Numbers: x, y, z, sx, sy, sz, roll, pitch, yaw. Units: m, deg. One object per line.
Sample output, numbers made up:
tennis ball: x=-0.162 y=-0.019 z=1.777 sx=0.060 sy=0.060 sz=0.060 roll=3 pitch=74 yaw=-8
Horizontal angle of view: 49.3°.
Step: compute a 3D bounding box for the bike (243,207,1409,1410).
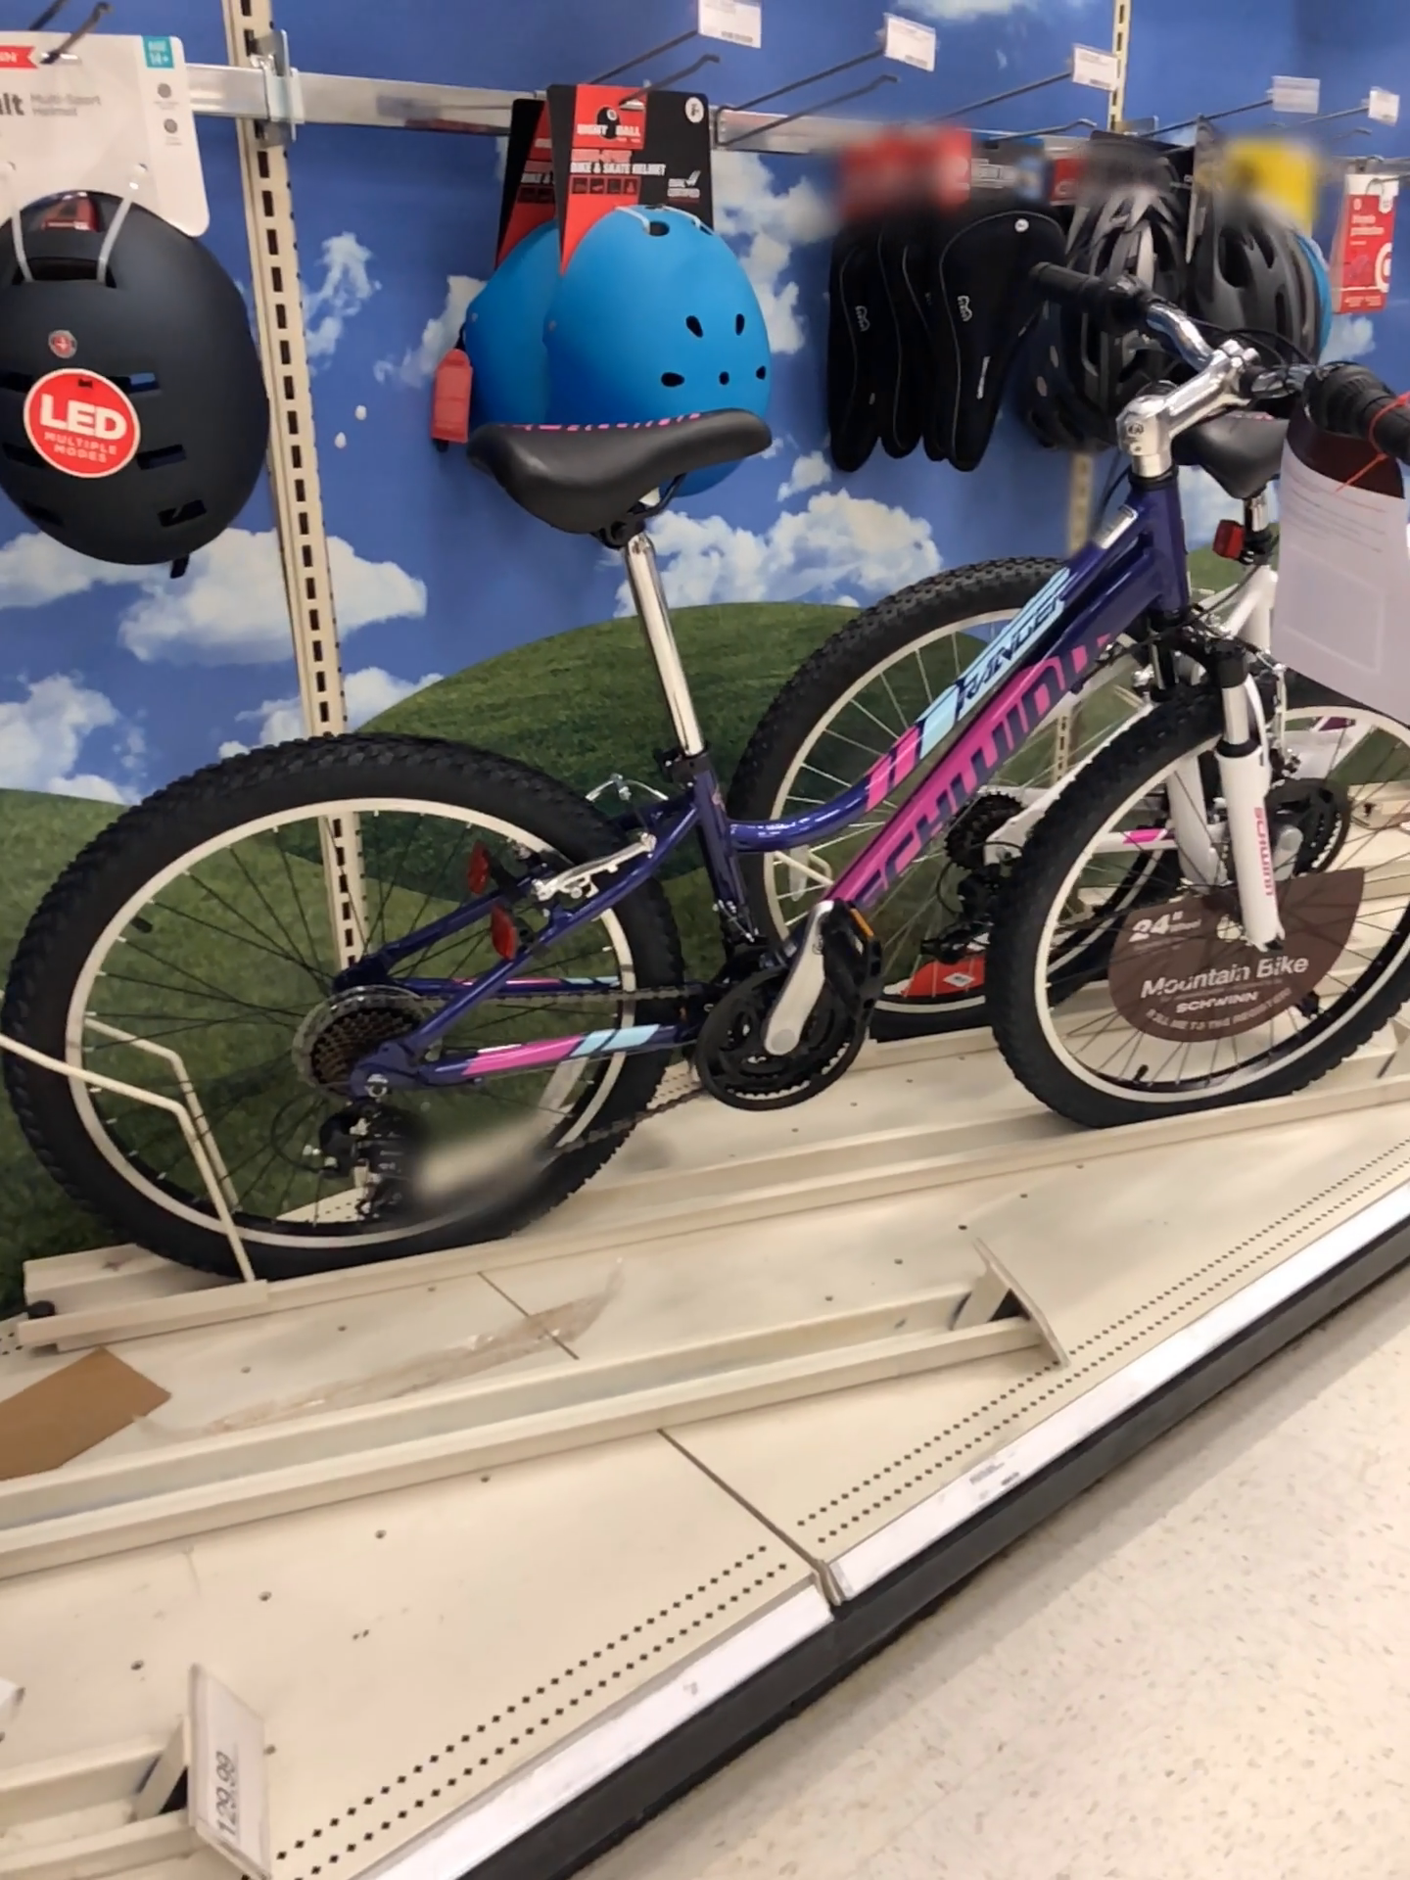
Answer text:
bike: x=0.287 y=-0.186 z=1.388 sx=1.223 sy=0.799 sz=0.570 roll=-6 pitch=22 yaw=-10
